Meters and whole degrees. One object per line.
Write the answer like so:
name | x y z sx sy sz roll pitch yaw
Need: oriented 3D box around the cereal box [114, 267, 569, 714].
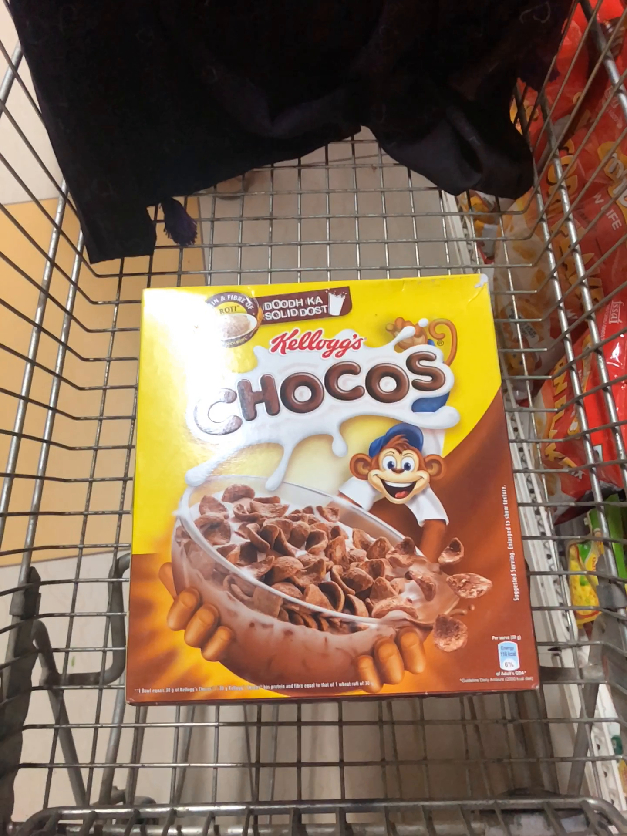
cereal box | 0.009 0.033 0.335 0.180 0.070 0.190 -2 73 2
